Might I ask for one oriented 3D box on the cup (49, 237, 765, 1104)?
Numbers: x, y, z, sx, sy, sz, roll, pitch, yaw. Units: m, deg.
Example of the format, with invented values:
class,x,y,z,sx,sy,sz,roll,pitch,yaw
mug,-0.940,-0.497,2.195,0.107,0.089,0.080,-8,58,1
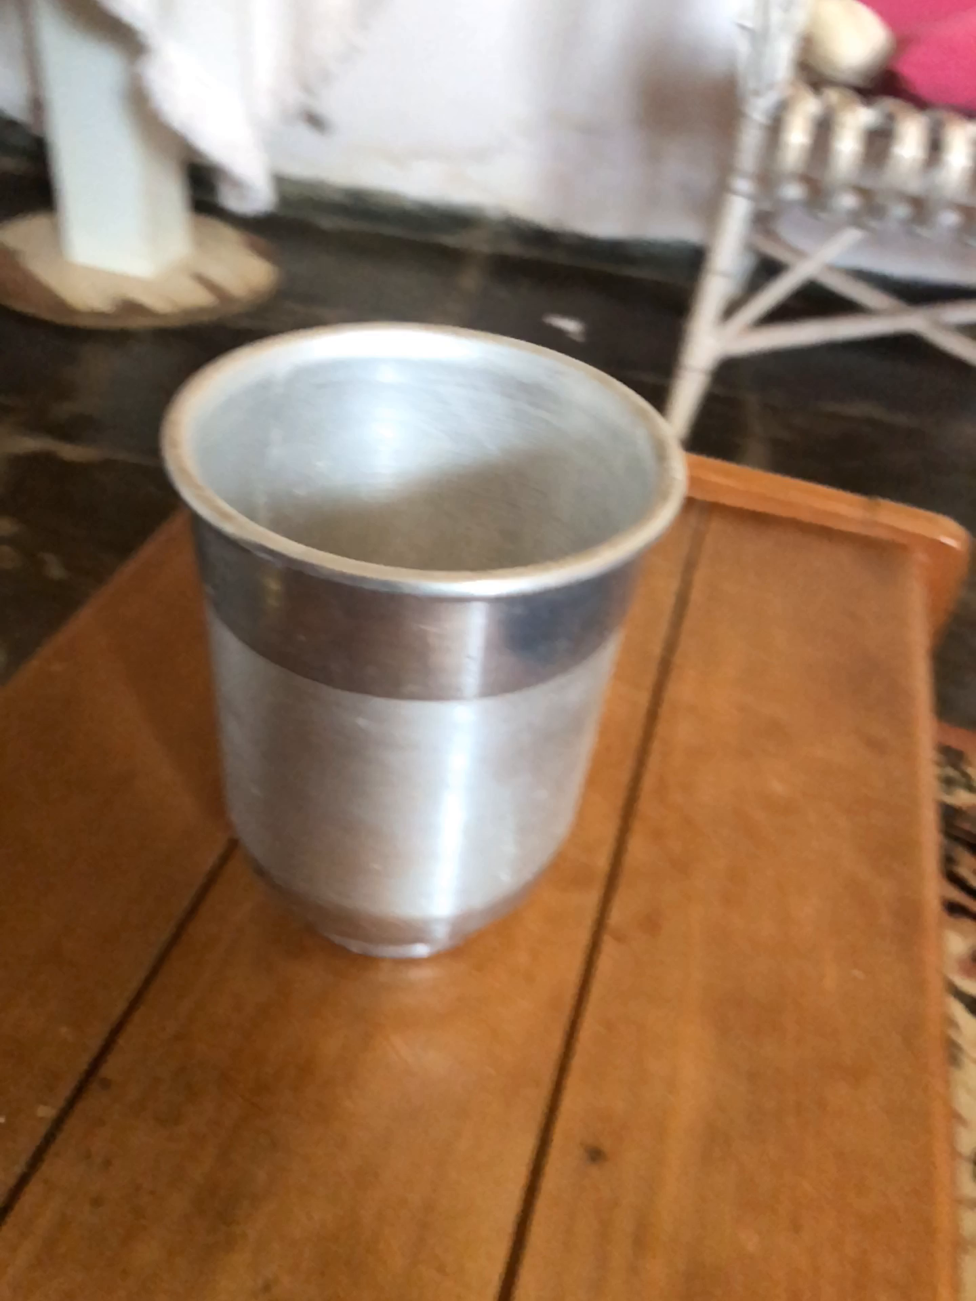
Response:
class,x,y,z,sx,sy,sz,roll,pitch,yaw
cup,-0.010,0.000,0.248,0.100,0.129,0.121,16,40,9
